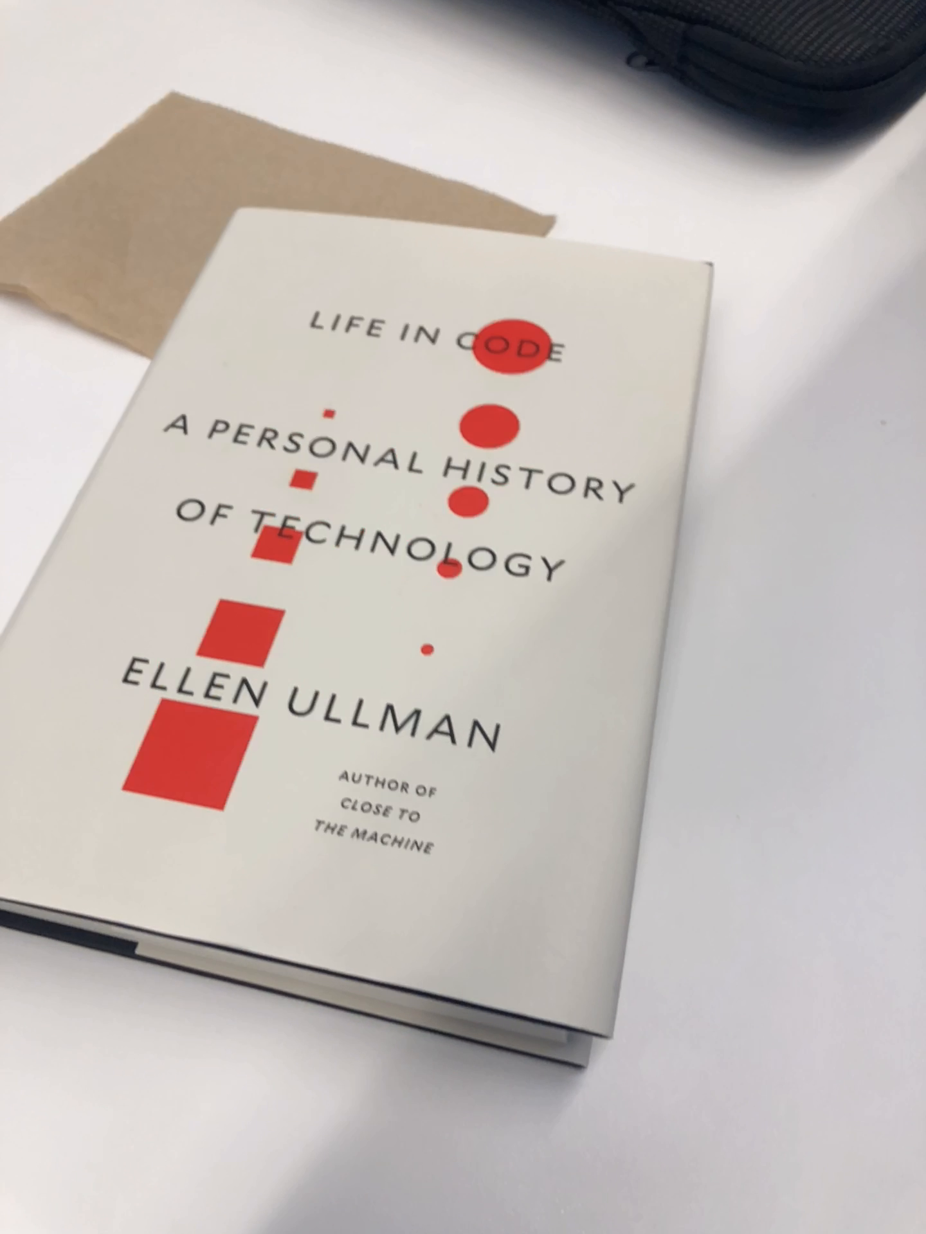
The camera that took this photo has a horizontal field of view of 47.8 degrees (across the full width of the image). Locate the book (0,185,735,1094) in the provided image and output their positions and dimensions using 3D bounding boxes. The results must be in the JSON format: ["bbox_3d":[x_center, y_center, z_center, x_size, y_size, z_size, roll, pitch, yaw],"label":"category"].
[{"bbox_3d":[-0.026,-0.021,0.258,0.160,0.030,0.221,10,56,9],"label":"book"}]
